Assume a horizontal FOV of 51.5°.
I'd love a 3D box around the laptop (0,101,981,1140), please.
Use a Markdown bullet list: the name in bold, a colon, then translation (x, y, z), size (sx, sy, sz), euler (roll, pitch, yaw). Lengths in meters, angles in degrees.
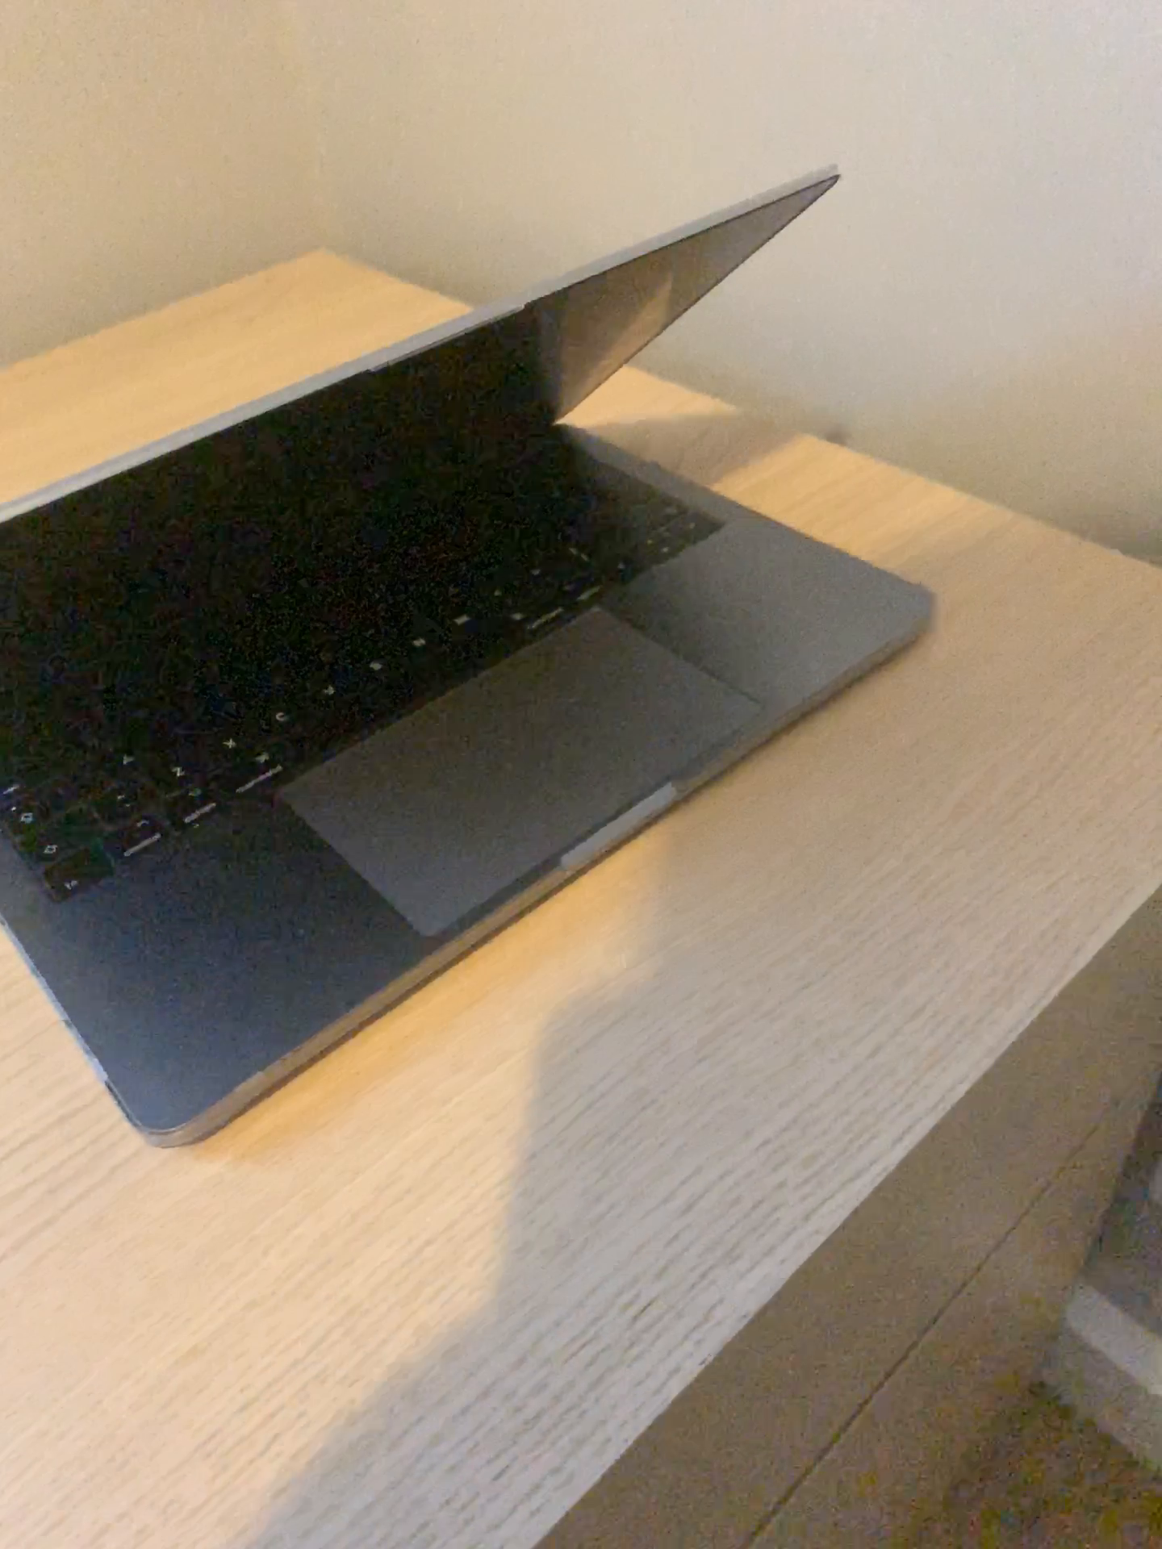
- **laptop**: translation (-0.062, -0.082, 0.361), size (0.290, 0.130, 0.205), euler (-33, 47, -26)
